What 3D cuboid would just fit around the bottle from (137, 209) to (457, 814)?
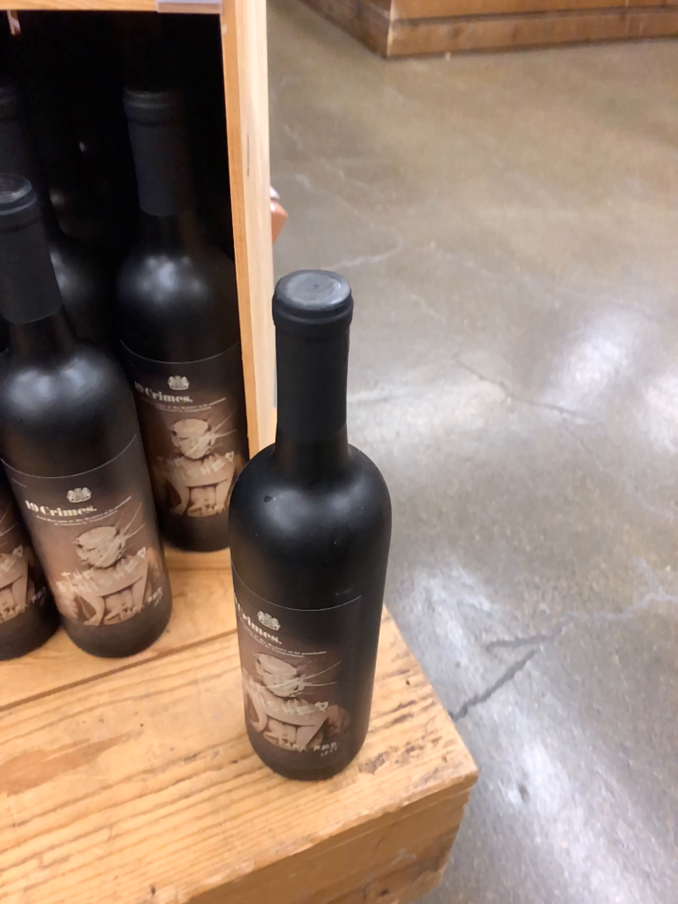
[{"bbox_3d":[-0.016,0.052,0.353,0.080,0.299,0.080,2,42,-1],"label":"bottle"}]
